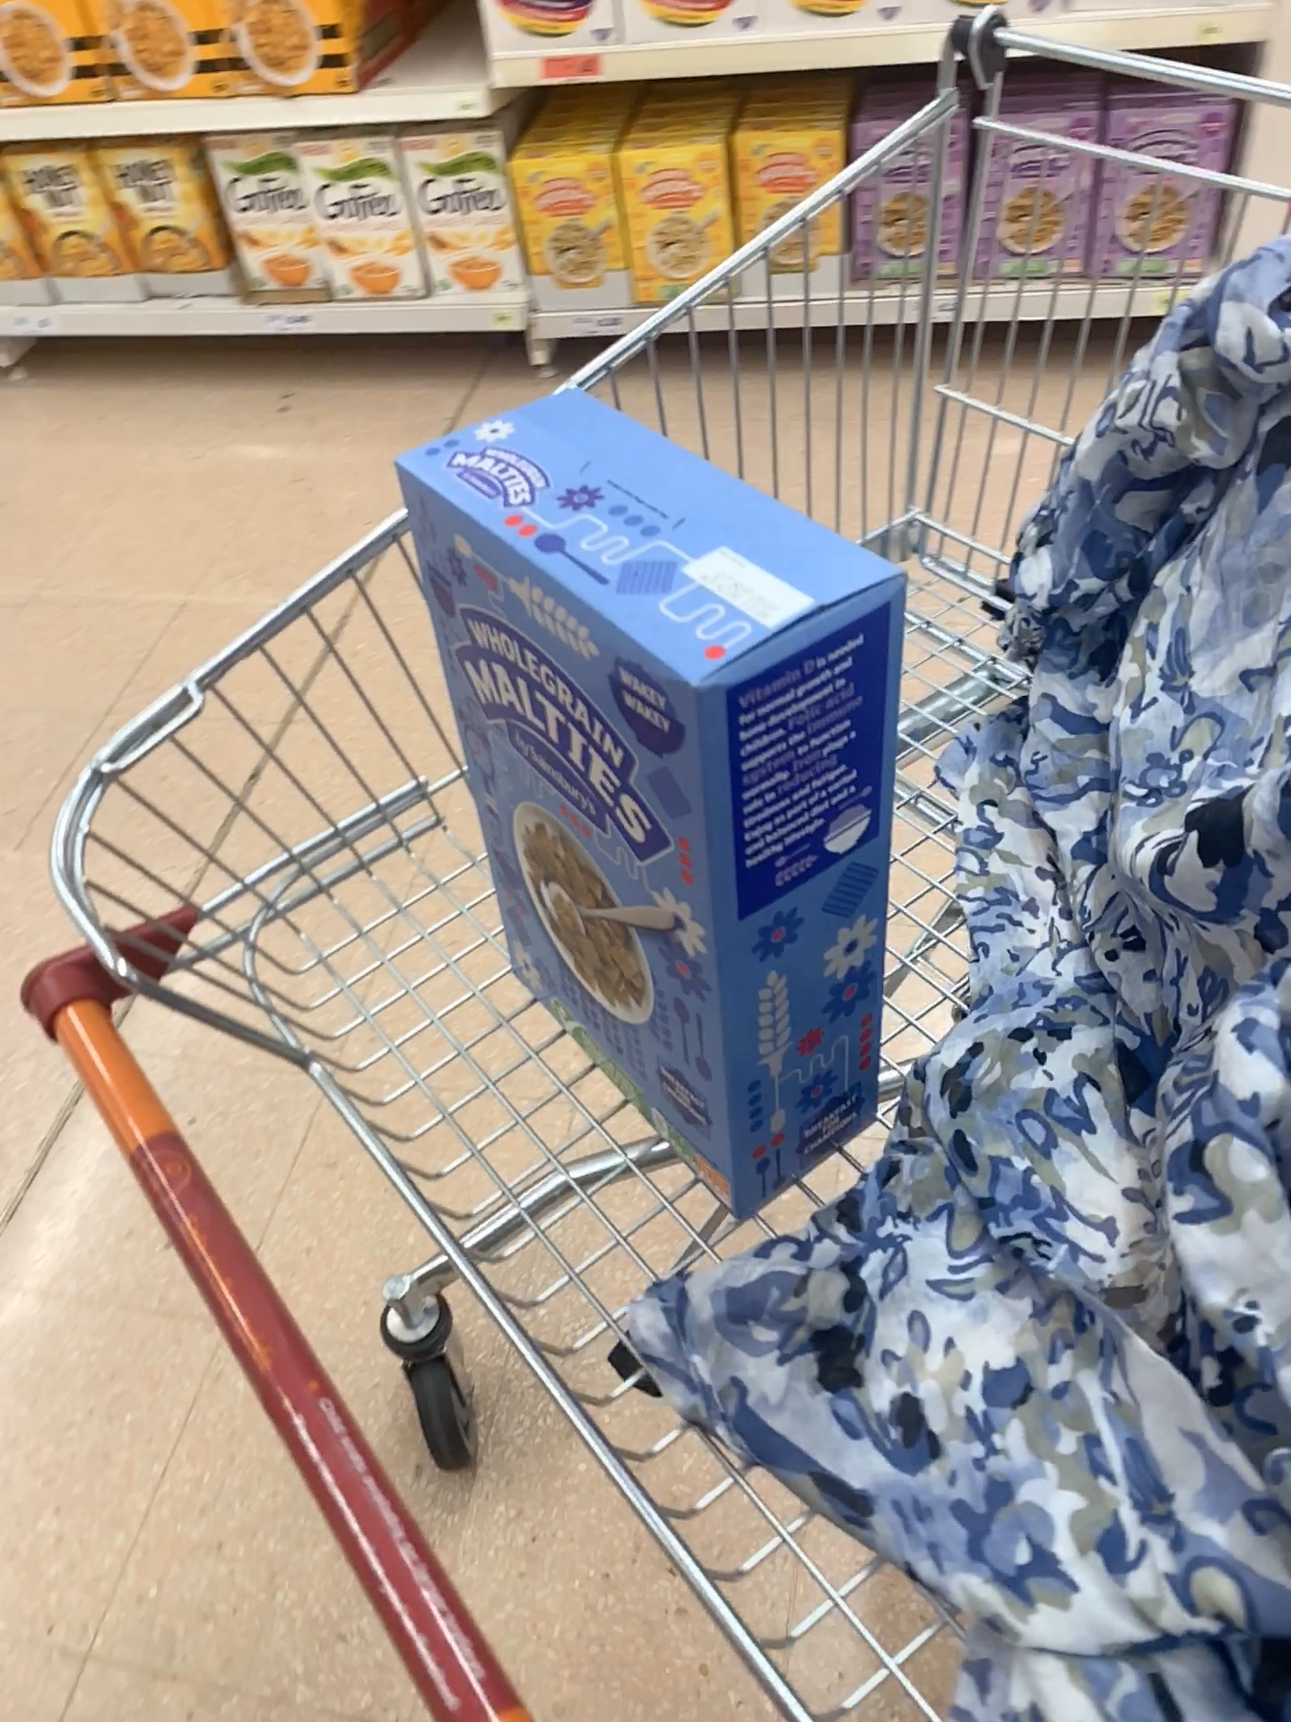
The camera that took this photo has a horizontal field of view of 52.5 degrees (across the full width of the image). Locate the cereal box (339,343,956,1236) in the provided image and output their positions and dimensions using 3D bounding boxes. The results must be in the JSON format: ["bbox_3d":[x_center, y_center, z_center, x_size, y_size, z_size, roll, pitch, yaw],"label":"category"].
[{"bbox_3d":[-0.001,-0.024,0.536,0.090,0.287,0.221,-30,50,-23],"label":"cereal box"}]
